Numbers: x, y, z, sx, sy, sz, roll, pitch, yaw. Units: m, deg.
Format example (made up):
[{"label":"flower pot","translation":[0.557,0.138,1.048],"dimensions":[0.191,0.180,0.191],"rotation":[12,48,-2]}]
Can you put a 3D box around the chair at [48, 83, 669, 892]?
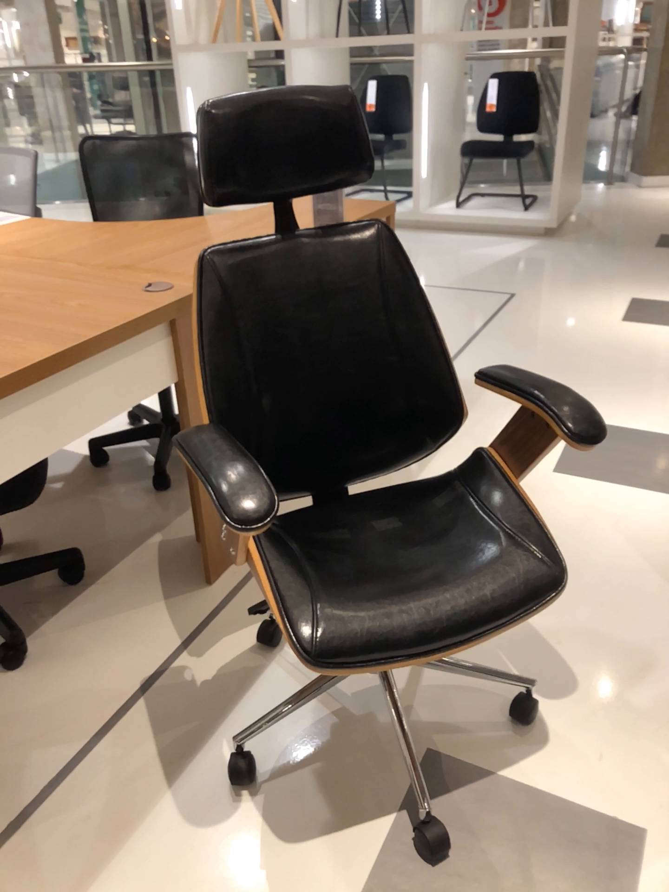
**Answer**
[{"label":"chair","translation":[0.050,0.016,1.259],"dimensions":[0.721,1.102,0.764],"rotation":[-14,30,-22]}]
